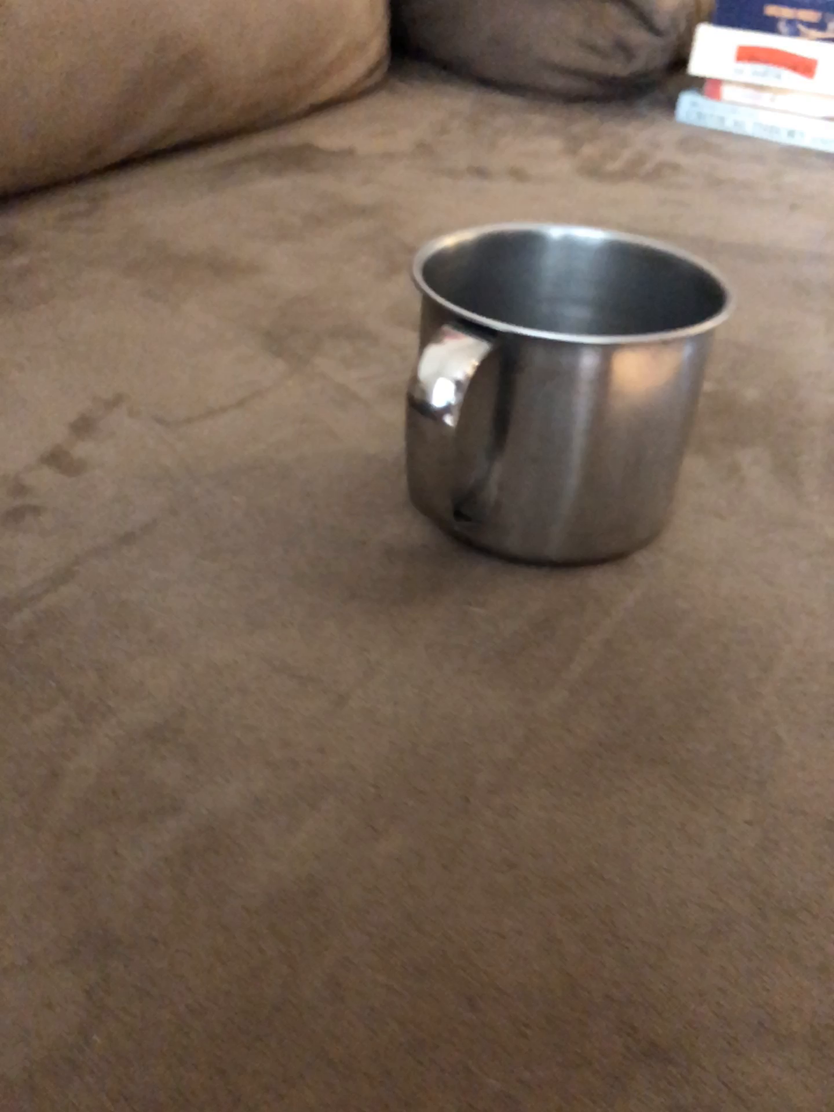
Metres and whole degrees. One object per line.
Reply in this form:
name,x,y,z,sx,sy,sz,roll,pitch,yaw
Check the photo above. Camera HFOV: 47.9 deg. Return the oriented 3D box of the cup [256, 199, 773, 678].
cup,0.029,-0.042,0.259,0.090,0.069,0.111,22,41,25
